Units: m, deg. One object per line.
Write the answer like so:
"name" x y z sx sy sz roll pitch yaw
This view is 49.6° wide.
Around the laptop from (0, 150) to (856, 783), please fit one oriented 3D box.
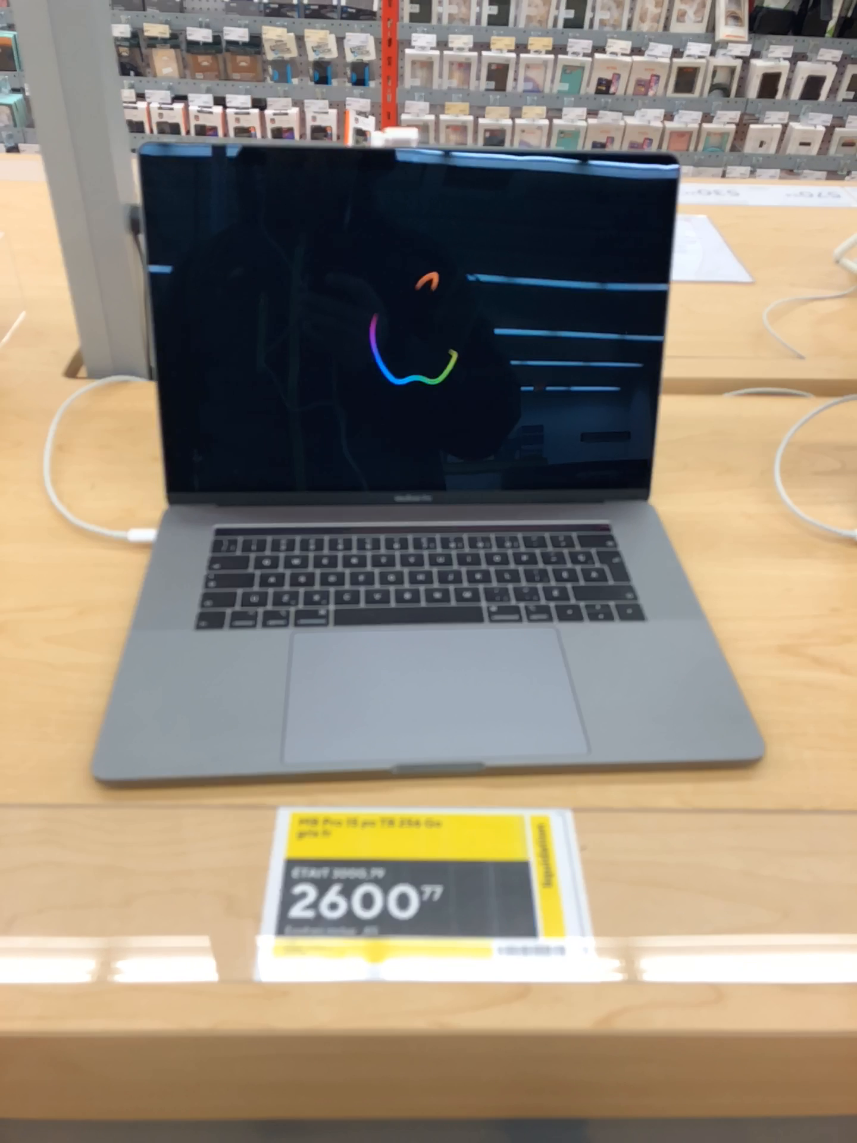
"laptop" 0.001 -0.079 0.517 0.329 0.212 0.299 -1 38 -5
